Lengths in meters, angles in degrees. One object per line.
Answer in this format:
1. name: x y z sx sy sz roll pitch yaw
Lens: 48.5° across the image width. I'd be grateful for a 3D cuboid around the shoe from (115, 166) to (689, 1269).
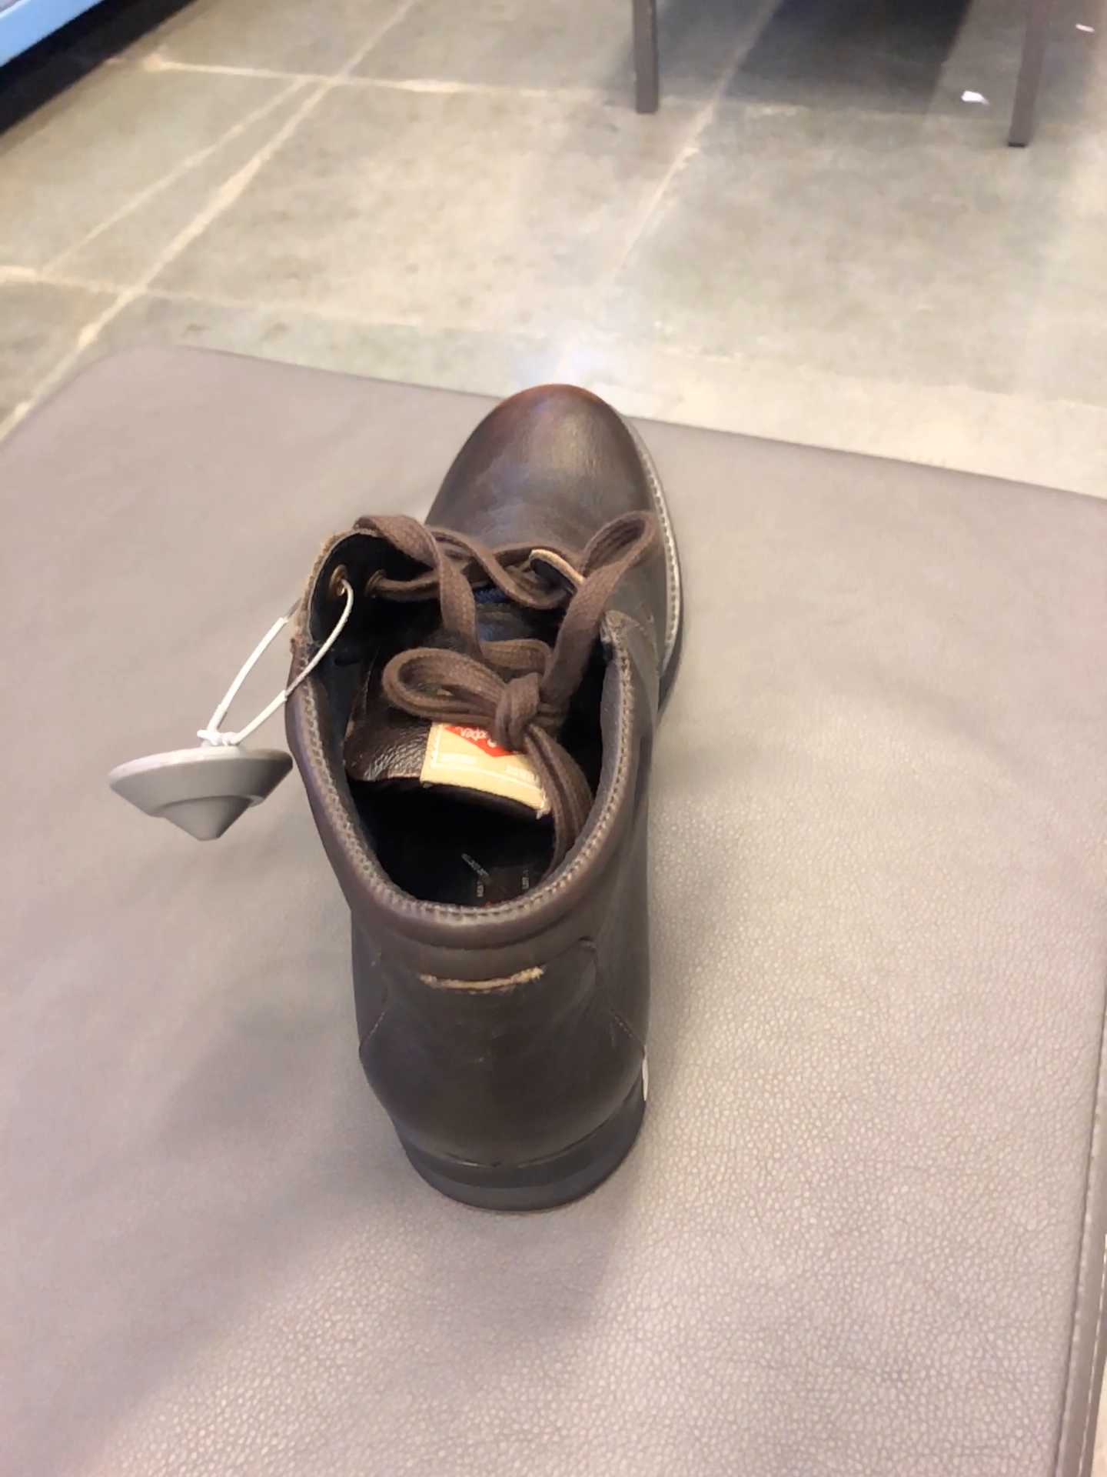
1. shoe: -0.014 -0.016 0.389 0.108 0.177 0.300 -1 52 6
